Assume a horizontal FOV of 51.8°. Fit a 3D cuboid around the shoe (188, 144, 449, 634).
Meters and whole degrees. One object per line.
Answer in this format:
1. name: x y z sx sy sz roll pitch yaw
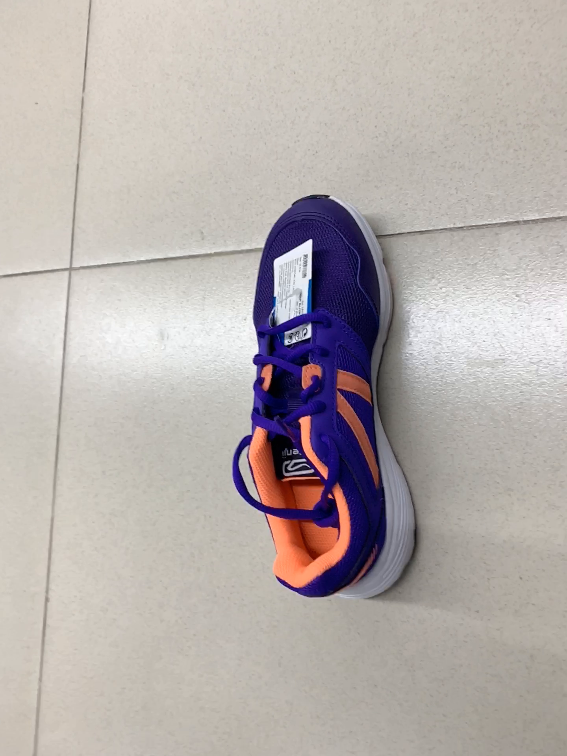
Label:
1. shoe: 0.022 0.010 0.361 0.100 0.100 0.250 -10 81 28
